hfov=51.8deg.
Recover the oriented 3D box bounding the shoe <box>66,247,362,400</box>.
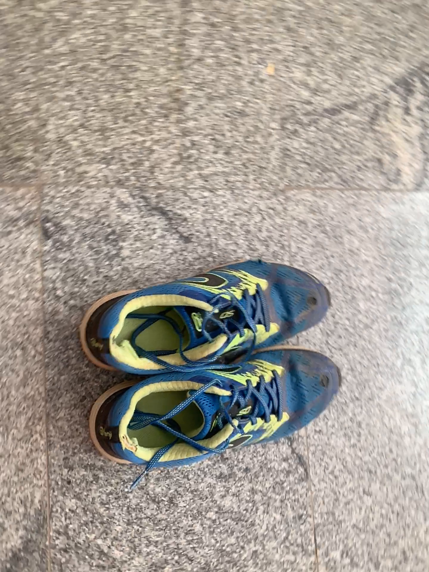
[{"bbox_3d":[0.006,0.029,0.461,0.290,0.060,0.100,-9,99,-15],"label":"shoe"}]

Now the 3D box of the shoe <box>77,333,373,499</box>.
[{"bbox_3d":[0.014,0.123,0.461,0.290,0.060,0.110,-6,88,-14],"label":"shoe"}]
